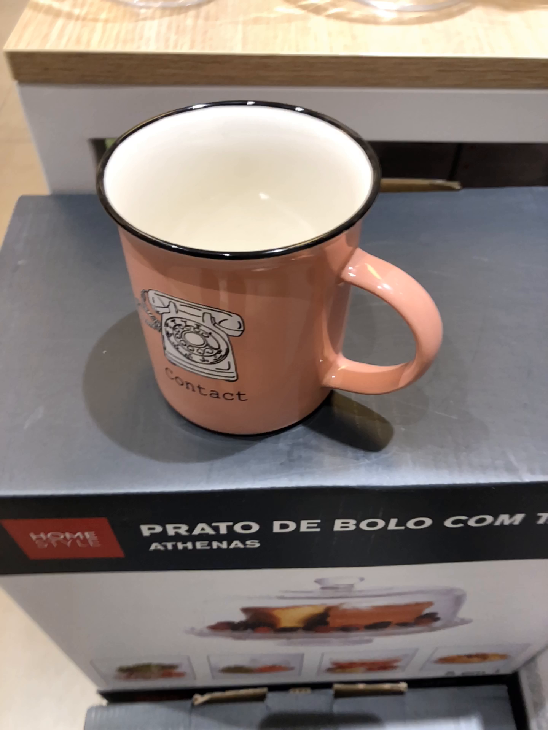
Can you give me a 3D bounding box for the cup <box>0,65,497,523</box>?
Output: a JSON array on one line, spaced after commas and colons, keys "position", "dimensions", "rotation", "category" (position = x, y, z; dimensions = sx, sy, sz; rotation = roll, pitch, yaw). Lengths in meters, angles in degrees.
[{"position": [-0.004, -0.023, 0.198], "dimensions": [0.110, 0.090, 0.080], "rotation": [19, 54, 14], "category": "cup"}]
